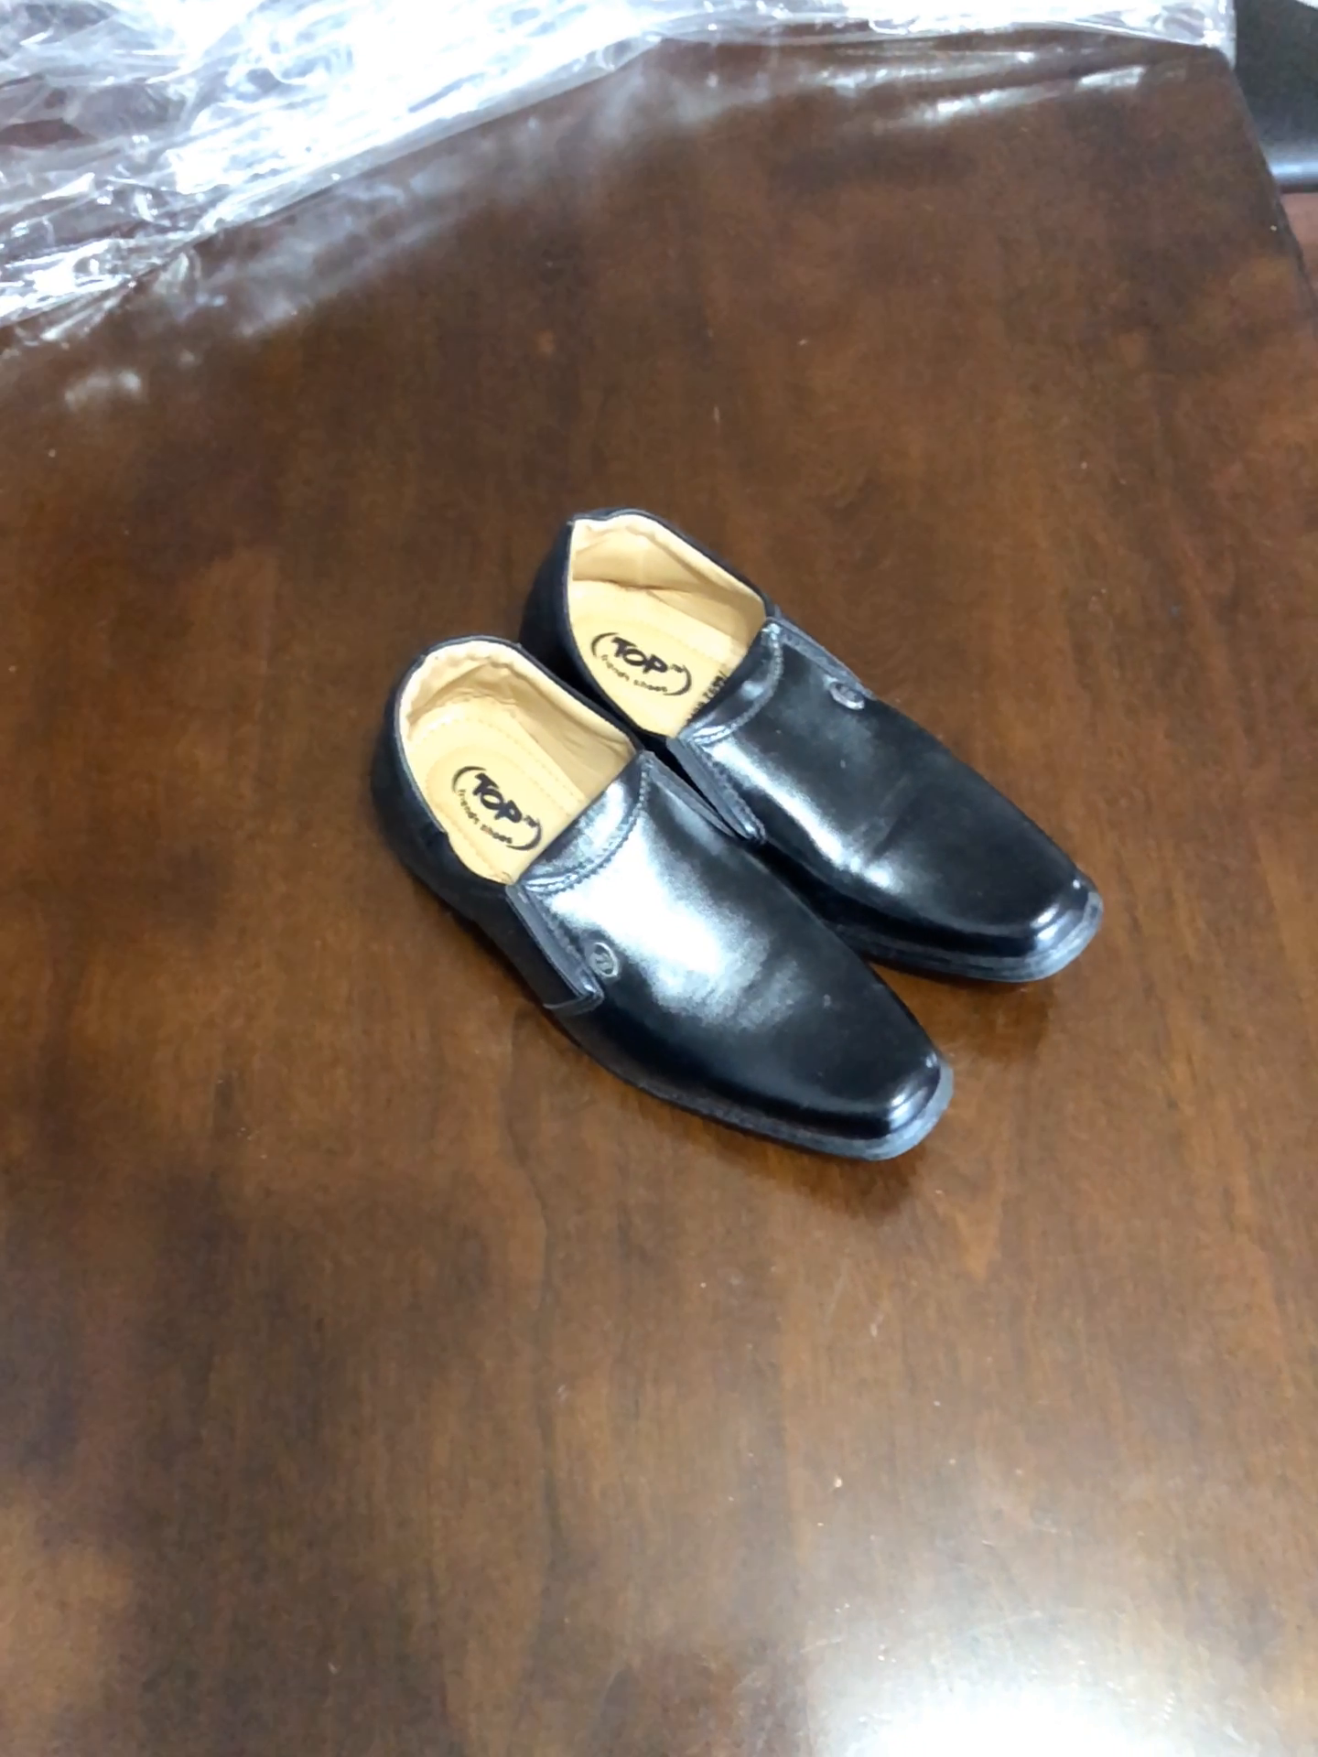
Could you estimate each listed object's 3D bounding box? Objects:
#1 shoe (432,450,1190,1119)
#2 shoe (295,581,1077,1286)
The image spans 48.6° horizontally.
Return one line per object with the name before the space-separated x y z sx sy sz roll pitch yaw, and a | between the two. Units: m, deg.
shoe | 0.044 -0.036 0.499 0.230 0.090 0.090 36 69 21
shoe | 0.004 0.013 0.471 0.230 0.080 0.090 36 69 21
